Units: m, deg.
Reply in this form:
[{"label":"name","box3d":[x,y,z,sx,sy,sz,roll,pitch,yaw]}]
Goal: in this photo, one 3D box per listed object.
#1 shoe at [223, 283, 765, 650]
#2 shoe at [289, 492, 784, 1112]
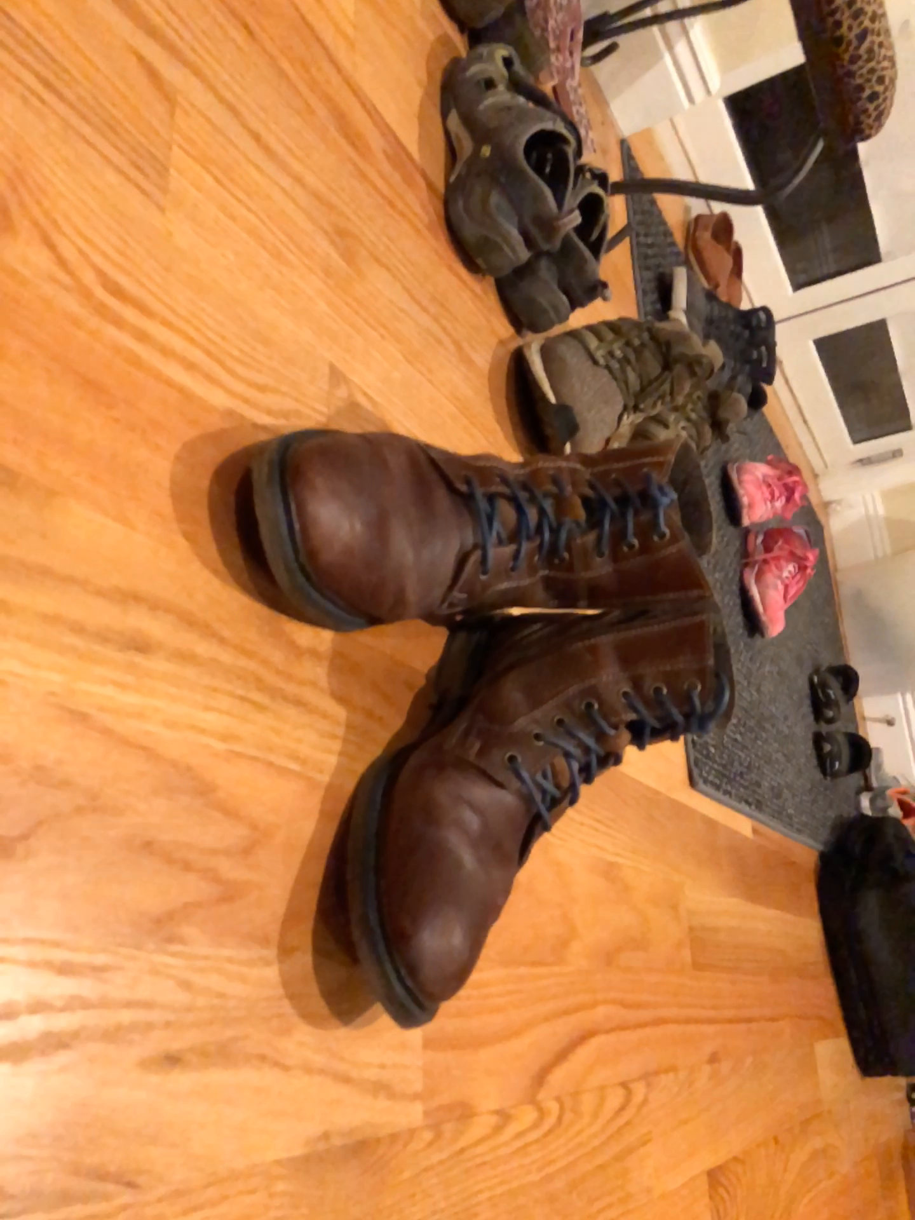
[{"label":"shoe","box3d":[0.046,-0.054,0.556,0.311,0.168,0.113,0,78,-63]},{"label":"shoe","box3d":[0.070,0.088,0.543,0.128,0.176,0.305,62,30,-28]}]
